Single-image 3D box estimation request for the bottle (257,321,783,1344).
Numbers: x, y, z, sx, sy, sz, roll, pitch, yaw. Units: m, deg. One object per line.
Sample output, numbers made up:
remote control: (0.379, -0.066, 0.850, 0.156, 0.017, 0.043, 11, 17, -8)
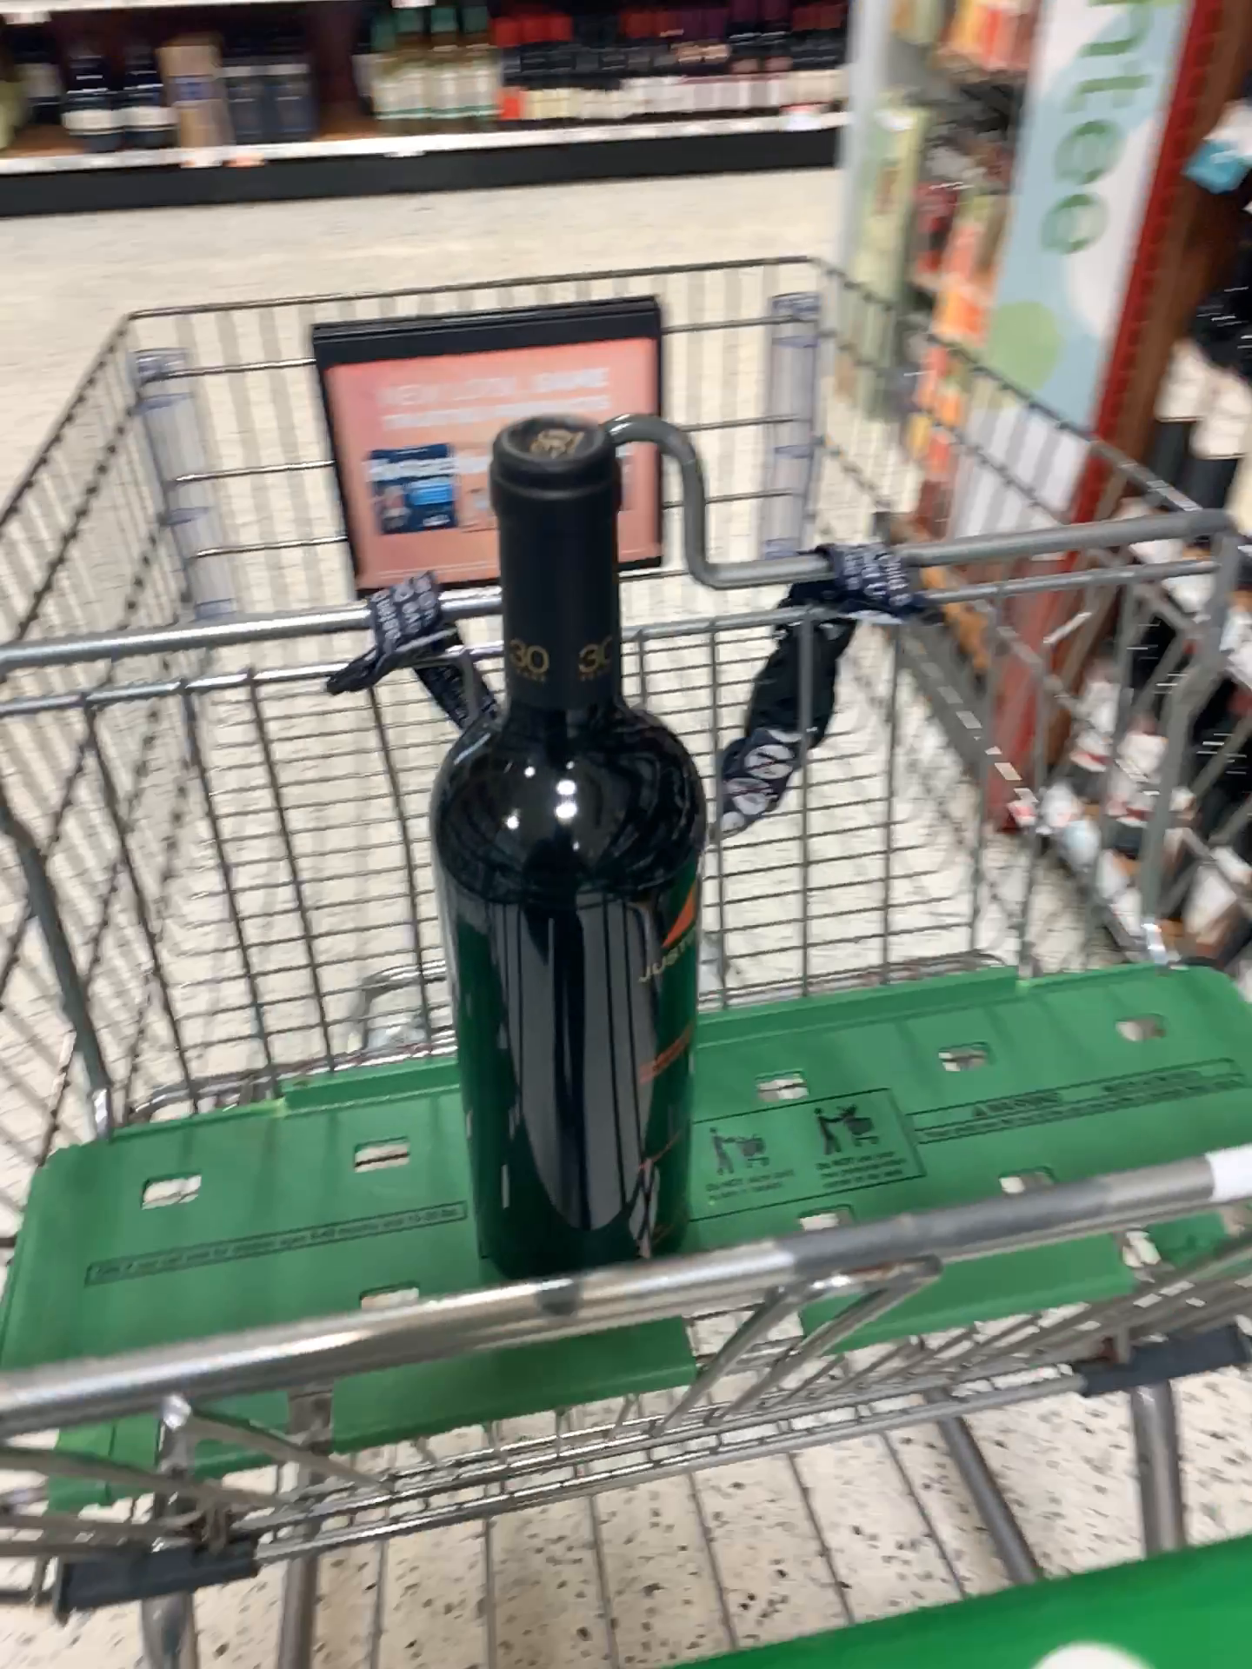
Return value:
bottle: (-0.020, 0.021, 0.374, 0.080, 0.297, 0.081, -1, 41, 1)
